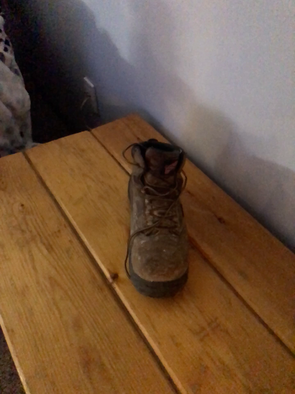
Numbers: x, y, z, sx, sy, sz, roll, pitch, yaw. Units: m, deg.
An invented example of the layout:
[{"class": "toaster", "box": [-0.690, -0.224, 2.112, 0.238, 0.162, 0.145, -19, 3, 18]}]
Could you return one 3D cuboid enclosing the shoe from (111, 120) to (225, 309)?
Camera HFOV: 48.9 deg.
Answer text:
[{"class": "shoe", "box": [0.012, 0.013, 0.540, 0.130, 0.130, 0.291, -3, 47, -6]}]
